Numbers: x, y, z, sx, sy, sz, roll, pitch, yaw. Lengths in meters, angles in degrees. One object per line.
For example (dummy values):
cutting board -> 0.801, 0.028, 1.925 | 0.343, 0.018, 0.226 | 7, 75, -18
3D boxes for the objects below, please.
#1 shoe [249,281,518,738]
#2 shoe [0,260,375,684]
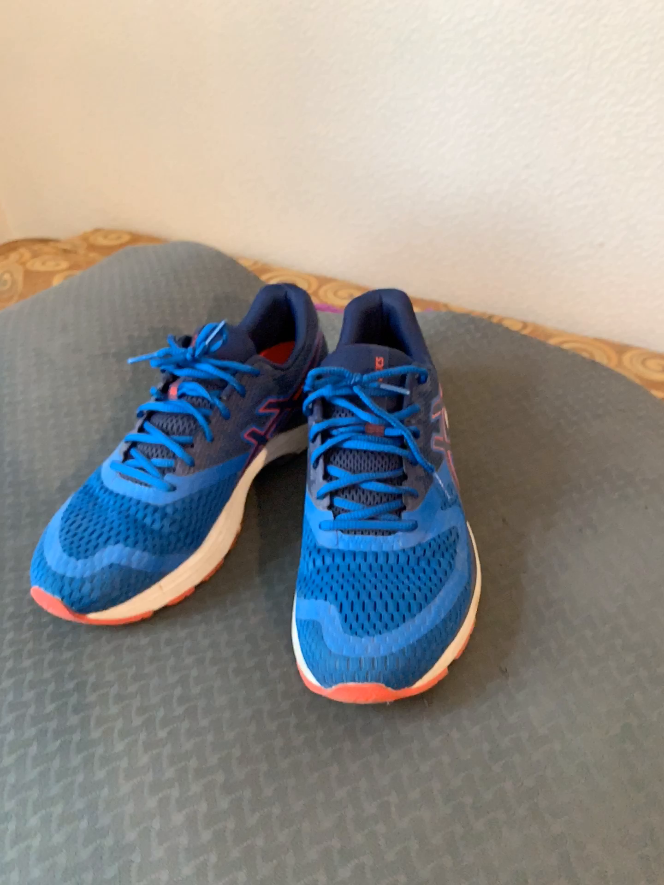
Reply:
shoe -> 0.038, 0.017, 0.456 | 0.120, 0.109, 0.301 | 3, 42, 5
shoe -> -0.088, -0.005, 0.493 | 0.120, 0.109, 0.301 | 18, 45, 22
